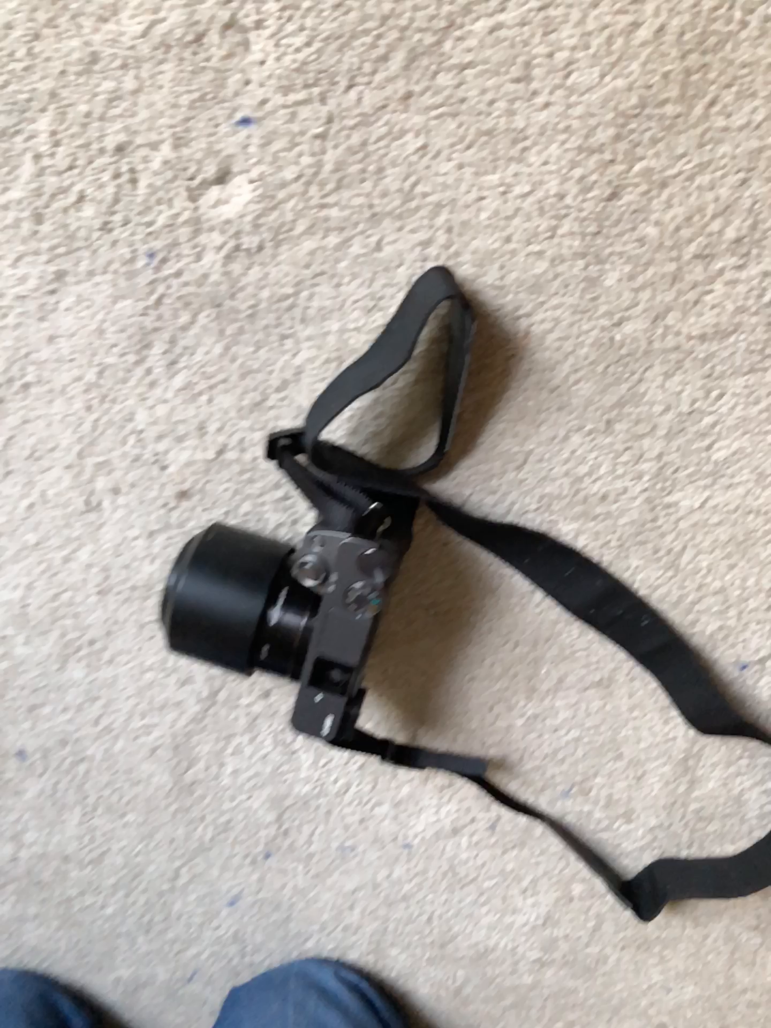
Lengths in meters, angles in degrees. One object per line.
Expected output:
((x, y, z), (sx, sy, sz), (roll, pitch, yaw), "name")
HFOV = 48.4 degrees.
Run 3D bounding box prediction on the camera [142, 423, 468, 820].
((-0.038, 0.049, 0.392), (0.110, 0.070, 0.140), (17, 120, 3), "camera")
